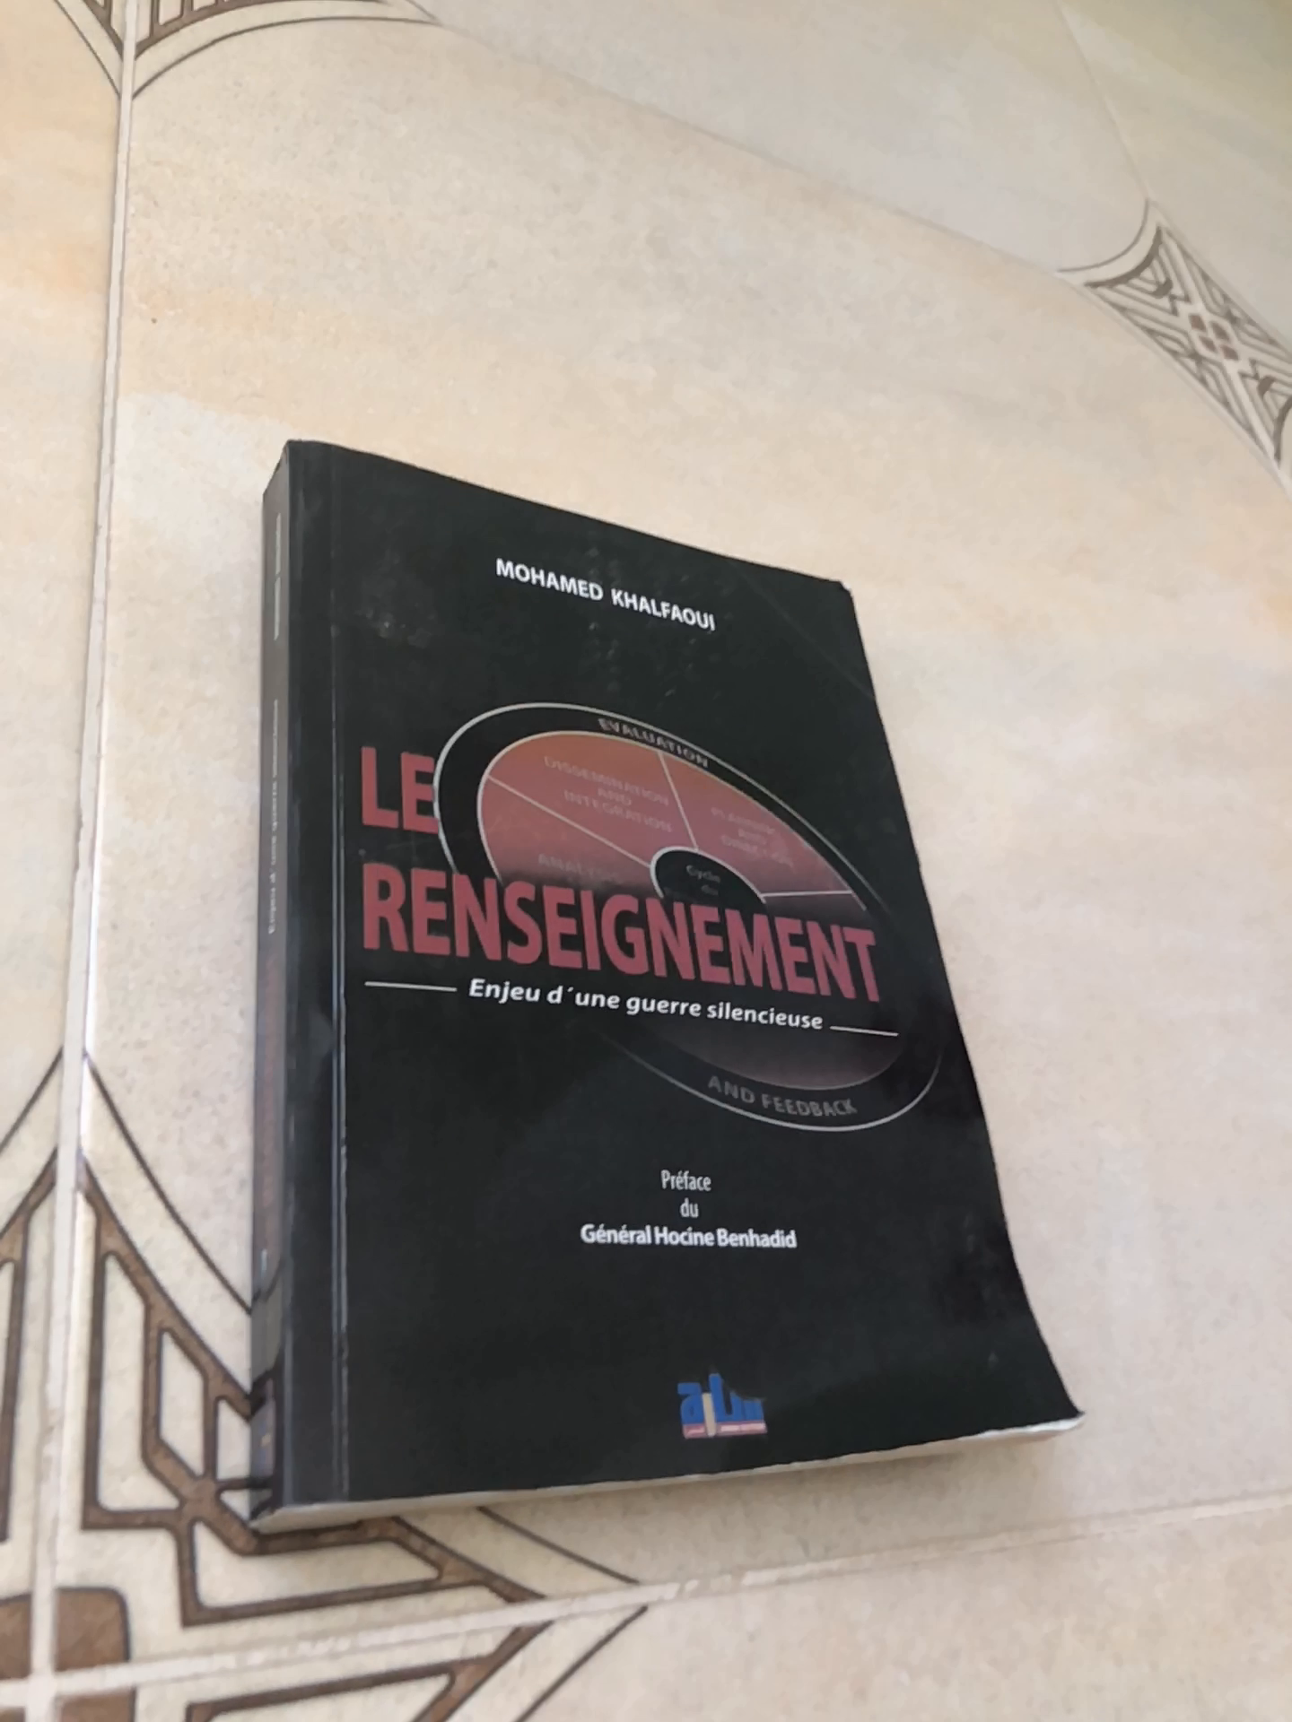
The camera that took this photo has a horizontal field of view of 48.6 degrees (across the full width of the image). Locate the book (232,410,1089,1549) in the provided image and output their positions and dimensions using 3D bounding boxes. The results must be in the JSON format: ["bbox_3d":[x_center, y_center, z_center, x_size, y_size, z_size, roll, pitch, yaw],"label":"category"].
[{"bbox_3d":[-0.003,0.017,0.286,0.146,0.037,0.201,9,59,-29],"label":"book"}]
